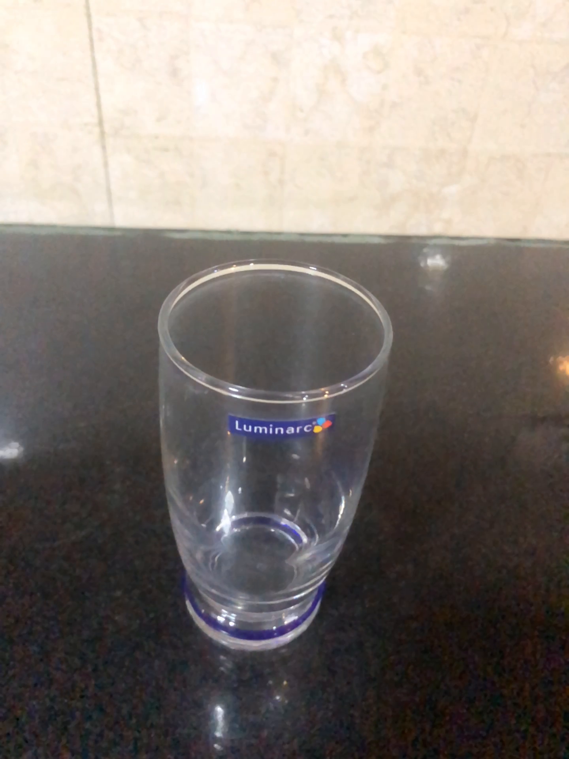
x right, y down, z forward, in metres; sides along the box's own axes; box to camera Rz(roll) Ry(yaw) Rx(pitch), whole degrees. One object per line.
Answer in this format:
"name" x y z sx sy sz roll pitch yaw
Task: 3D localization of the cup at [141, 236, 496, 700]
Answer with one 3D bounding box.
"cup" -0.001 0.031 0.217 0.080 0.129 0.081 3 39 -2
